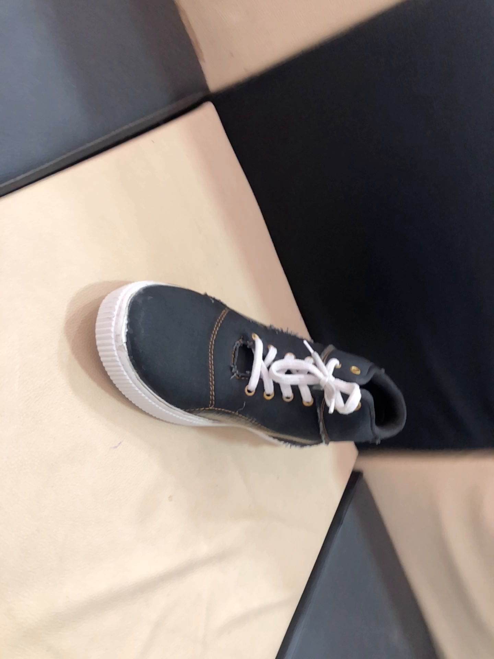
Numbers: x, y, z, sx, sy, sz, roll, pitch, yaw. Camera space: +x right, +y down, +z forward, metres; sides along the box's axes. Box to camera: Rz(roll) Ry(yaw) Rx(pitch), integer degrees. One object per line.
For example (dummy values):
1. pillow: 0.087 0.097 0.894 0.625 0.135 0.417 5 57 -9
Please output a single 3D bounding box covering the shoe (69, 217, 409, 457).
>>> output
1. shoe: 0.024 0.035 0.440 0.302 0.109 0.100 27 61 -50
